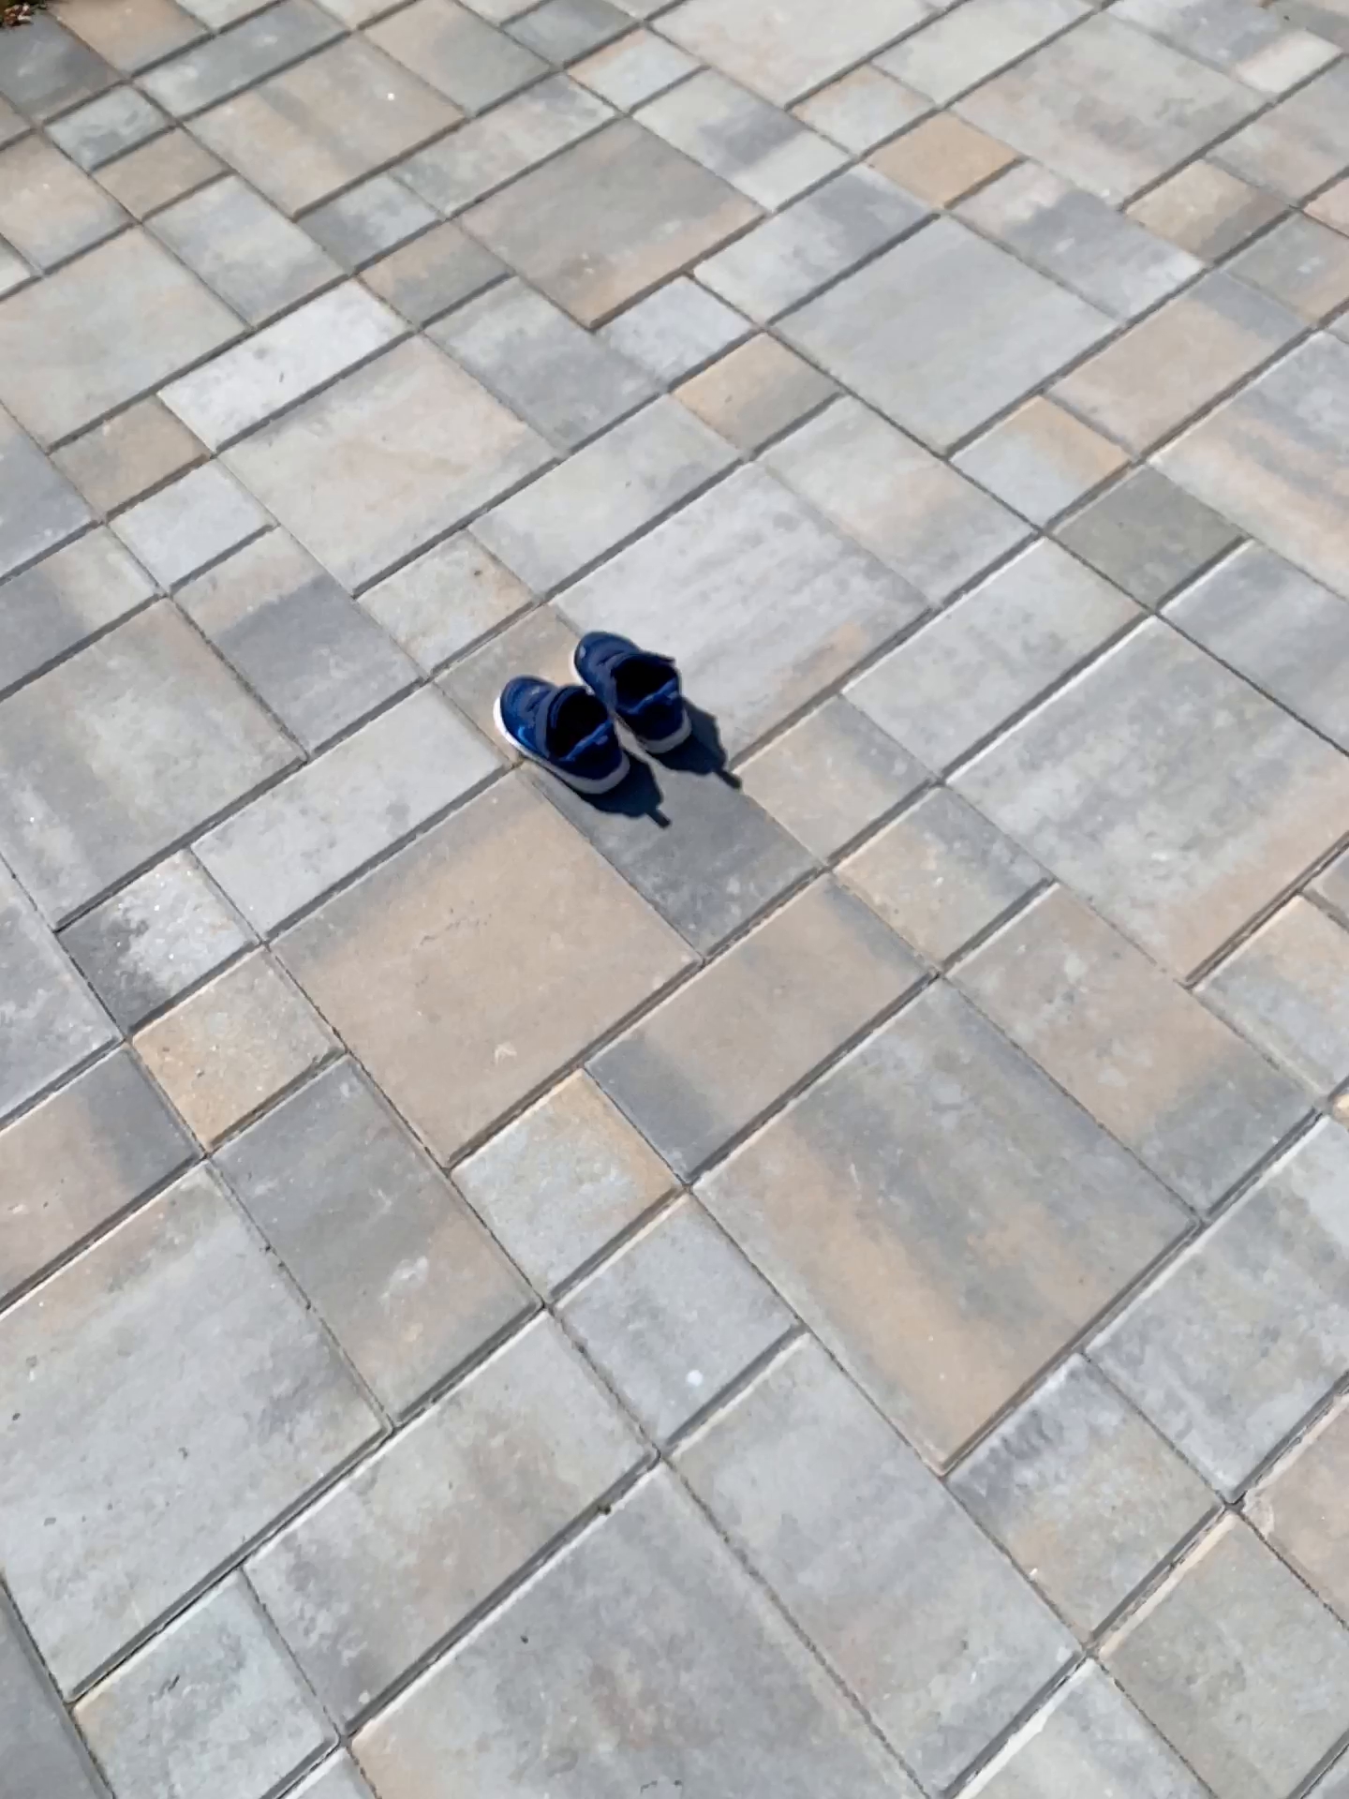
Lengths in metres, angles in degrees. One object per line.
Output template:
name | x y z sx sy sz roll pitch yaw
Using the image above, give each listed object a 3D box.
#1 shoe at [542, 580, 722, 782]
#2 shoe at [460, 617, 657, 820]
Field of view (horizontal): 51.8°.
shoe | -0.042 -0.223 1.413 0.090 0.090 0.170 -36 65 -15
shoe | -0.113 -0.178 1.368 0.170 0.090 0.090 40 71 22
